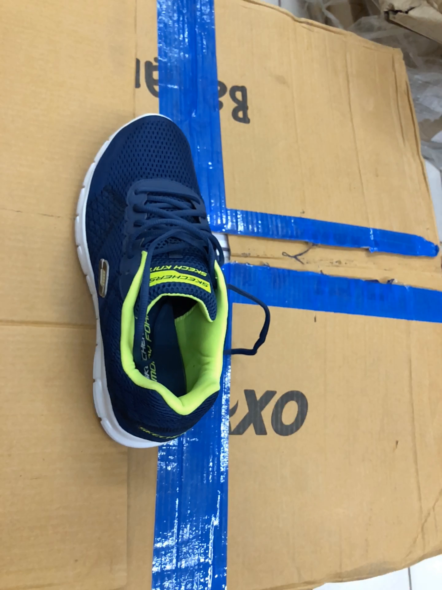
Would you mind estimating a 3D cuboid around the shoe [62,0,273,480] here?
[{"bbox_3d":[-0.054,-0.036,0.373,0.107,0.146,0.307,3,76,-23],"label":"shoe"}]
